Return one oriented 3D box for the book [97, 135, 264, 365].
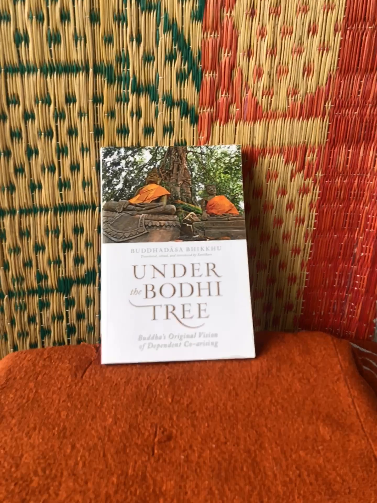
[{"bbox_3d":[-0.012,-0.006,0.430,0.160,0.230,0.030,-2,-9,-3],"label":"book"}]
